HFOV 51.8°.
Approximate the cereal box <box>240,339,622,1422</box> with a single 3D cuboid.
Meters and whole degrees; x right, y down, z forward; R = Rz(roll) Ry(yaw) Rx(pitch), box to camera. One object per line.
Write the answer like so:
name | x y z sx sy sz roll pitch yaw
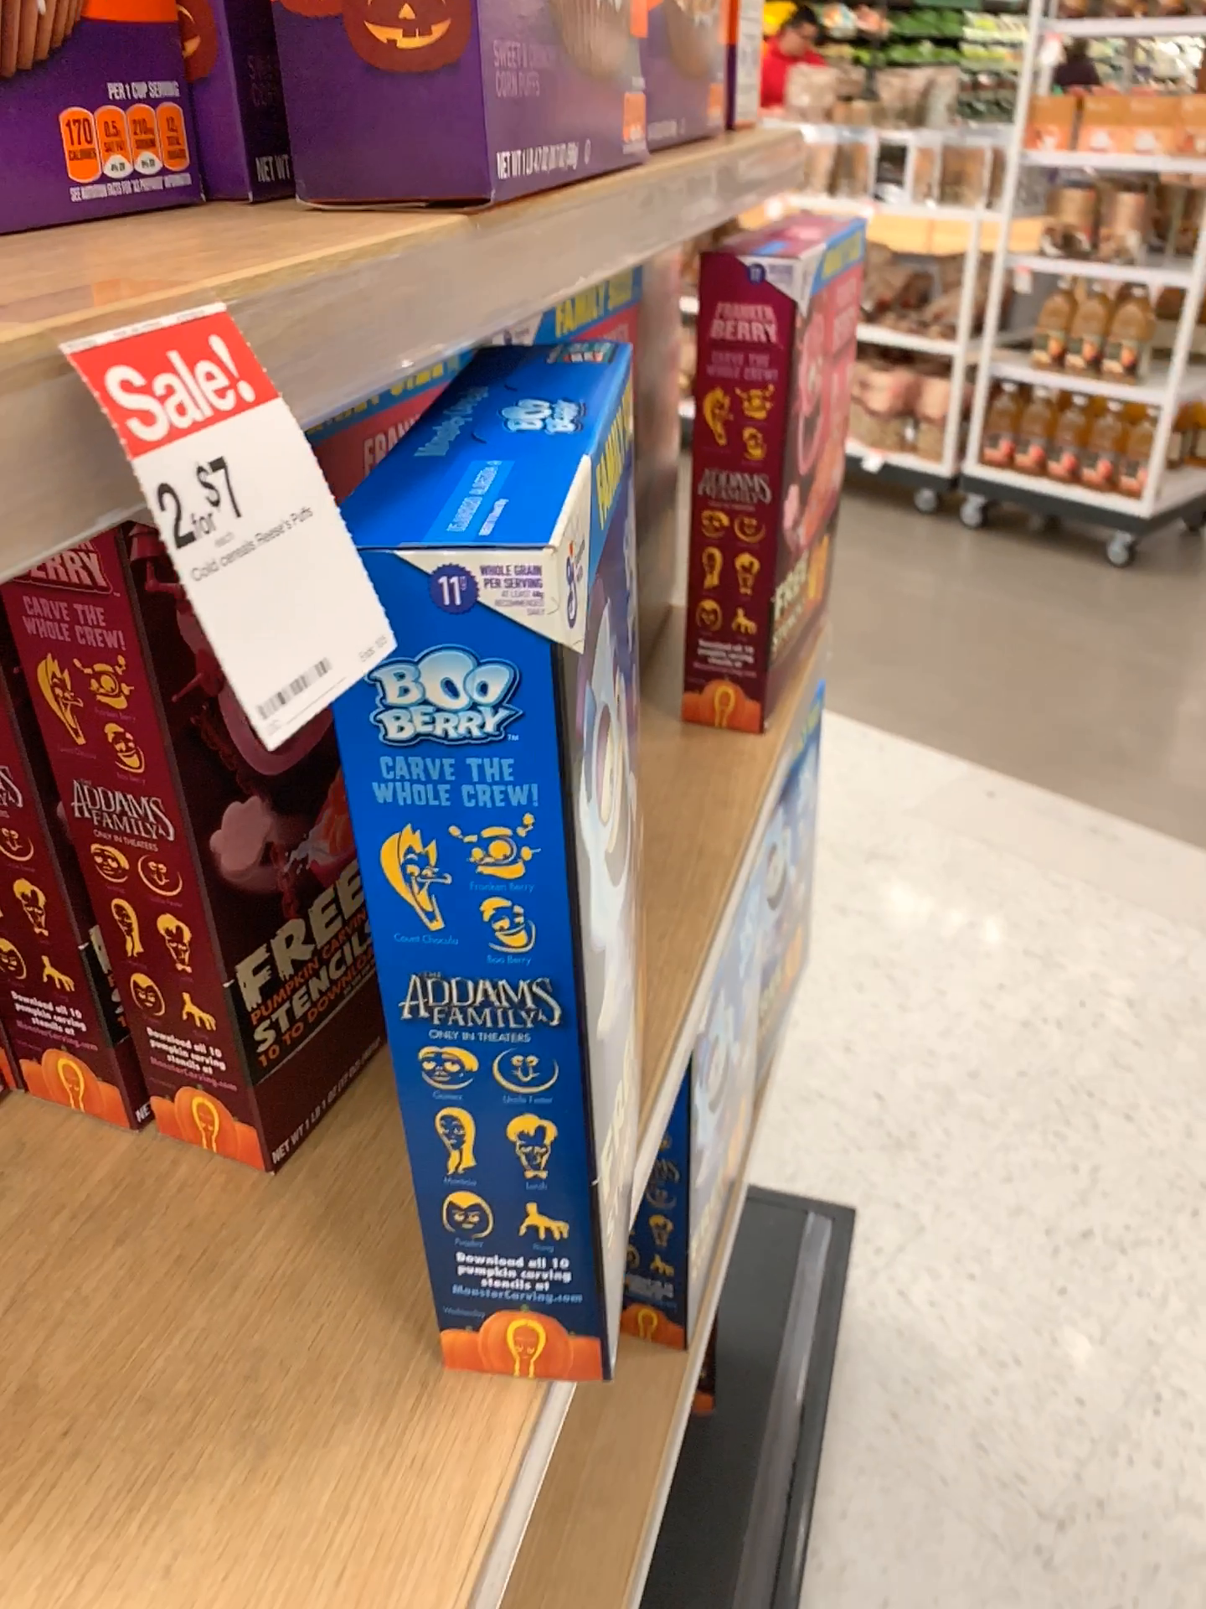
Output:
cereal box | -0.035 0.016 0.453 0.060 0.308 0.241 0 30 5
